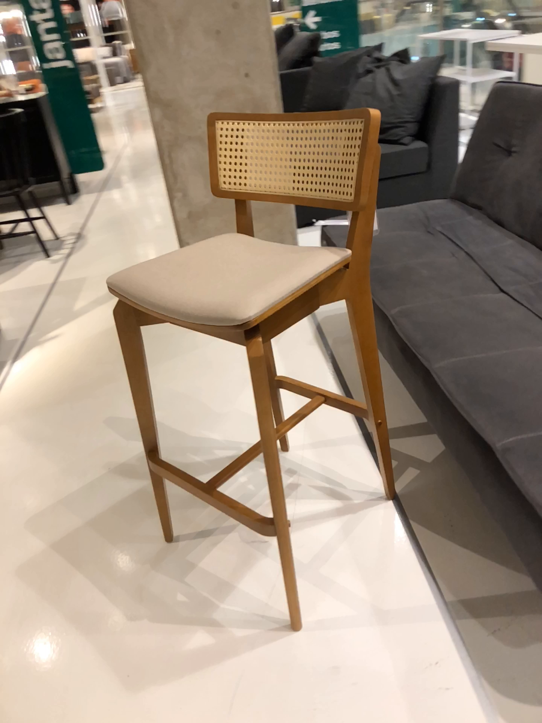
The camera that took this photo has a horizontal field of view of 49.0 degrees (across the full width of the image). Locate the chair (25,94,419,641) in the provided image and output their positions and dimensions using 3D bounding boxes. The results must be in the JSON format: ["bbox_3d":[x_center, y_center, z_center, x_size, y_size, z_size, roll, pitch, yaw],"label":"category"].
[{"bbox_3d":[-0.030,-0.012,1.313,0.472,0.963,0.522,17,38,40],"label":"chair"}]
